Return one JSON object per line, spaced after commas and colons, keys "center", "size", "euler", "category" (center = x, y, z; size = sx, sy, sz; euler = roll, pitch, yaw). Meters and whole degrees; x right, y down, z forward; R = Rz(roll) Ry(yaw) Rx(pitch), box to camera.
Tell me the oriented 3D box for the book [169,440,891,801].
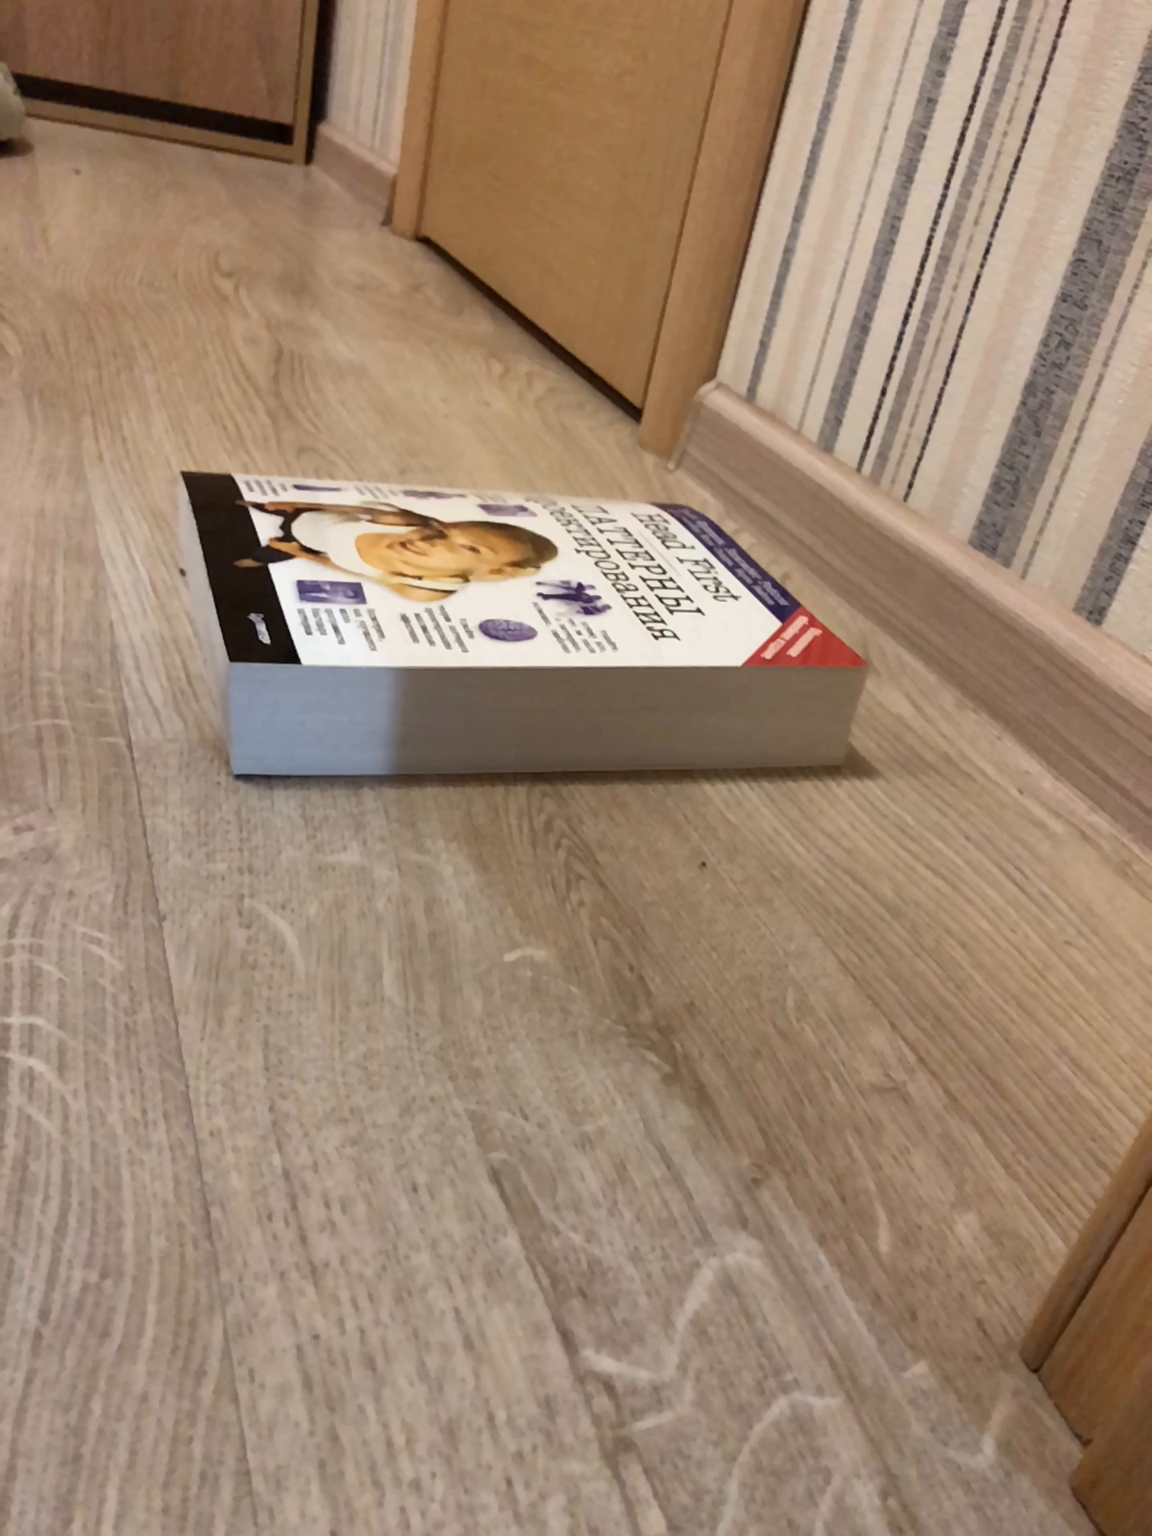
{"center": [-0.032, -0.070, 0.521], "size": [0.240, 0.049, 0.207], "euler": [-2, 33, -22], "category": "book"}
